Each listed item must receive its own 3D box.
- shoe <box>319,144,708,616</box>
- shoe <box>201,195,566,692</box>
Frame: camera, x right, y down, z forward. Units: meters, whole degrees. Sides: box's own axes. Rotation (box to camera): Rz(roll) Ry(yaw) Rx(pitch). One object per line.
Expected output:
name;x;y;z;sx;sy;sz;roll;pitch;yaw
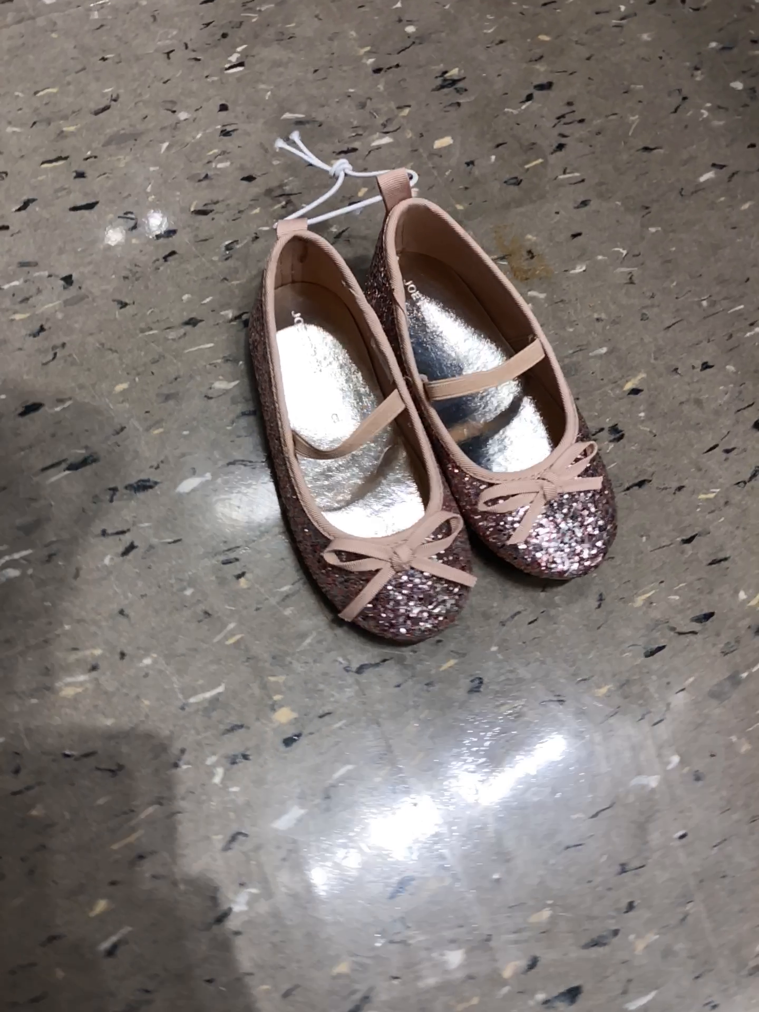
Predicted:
shoe;0.043;-0.050;0.338;0.070;0.070;0.160;-23;74;-15
shoe;-0.006;-0.023;0.319;0.070;0.070;0.160;-19;73;-14
